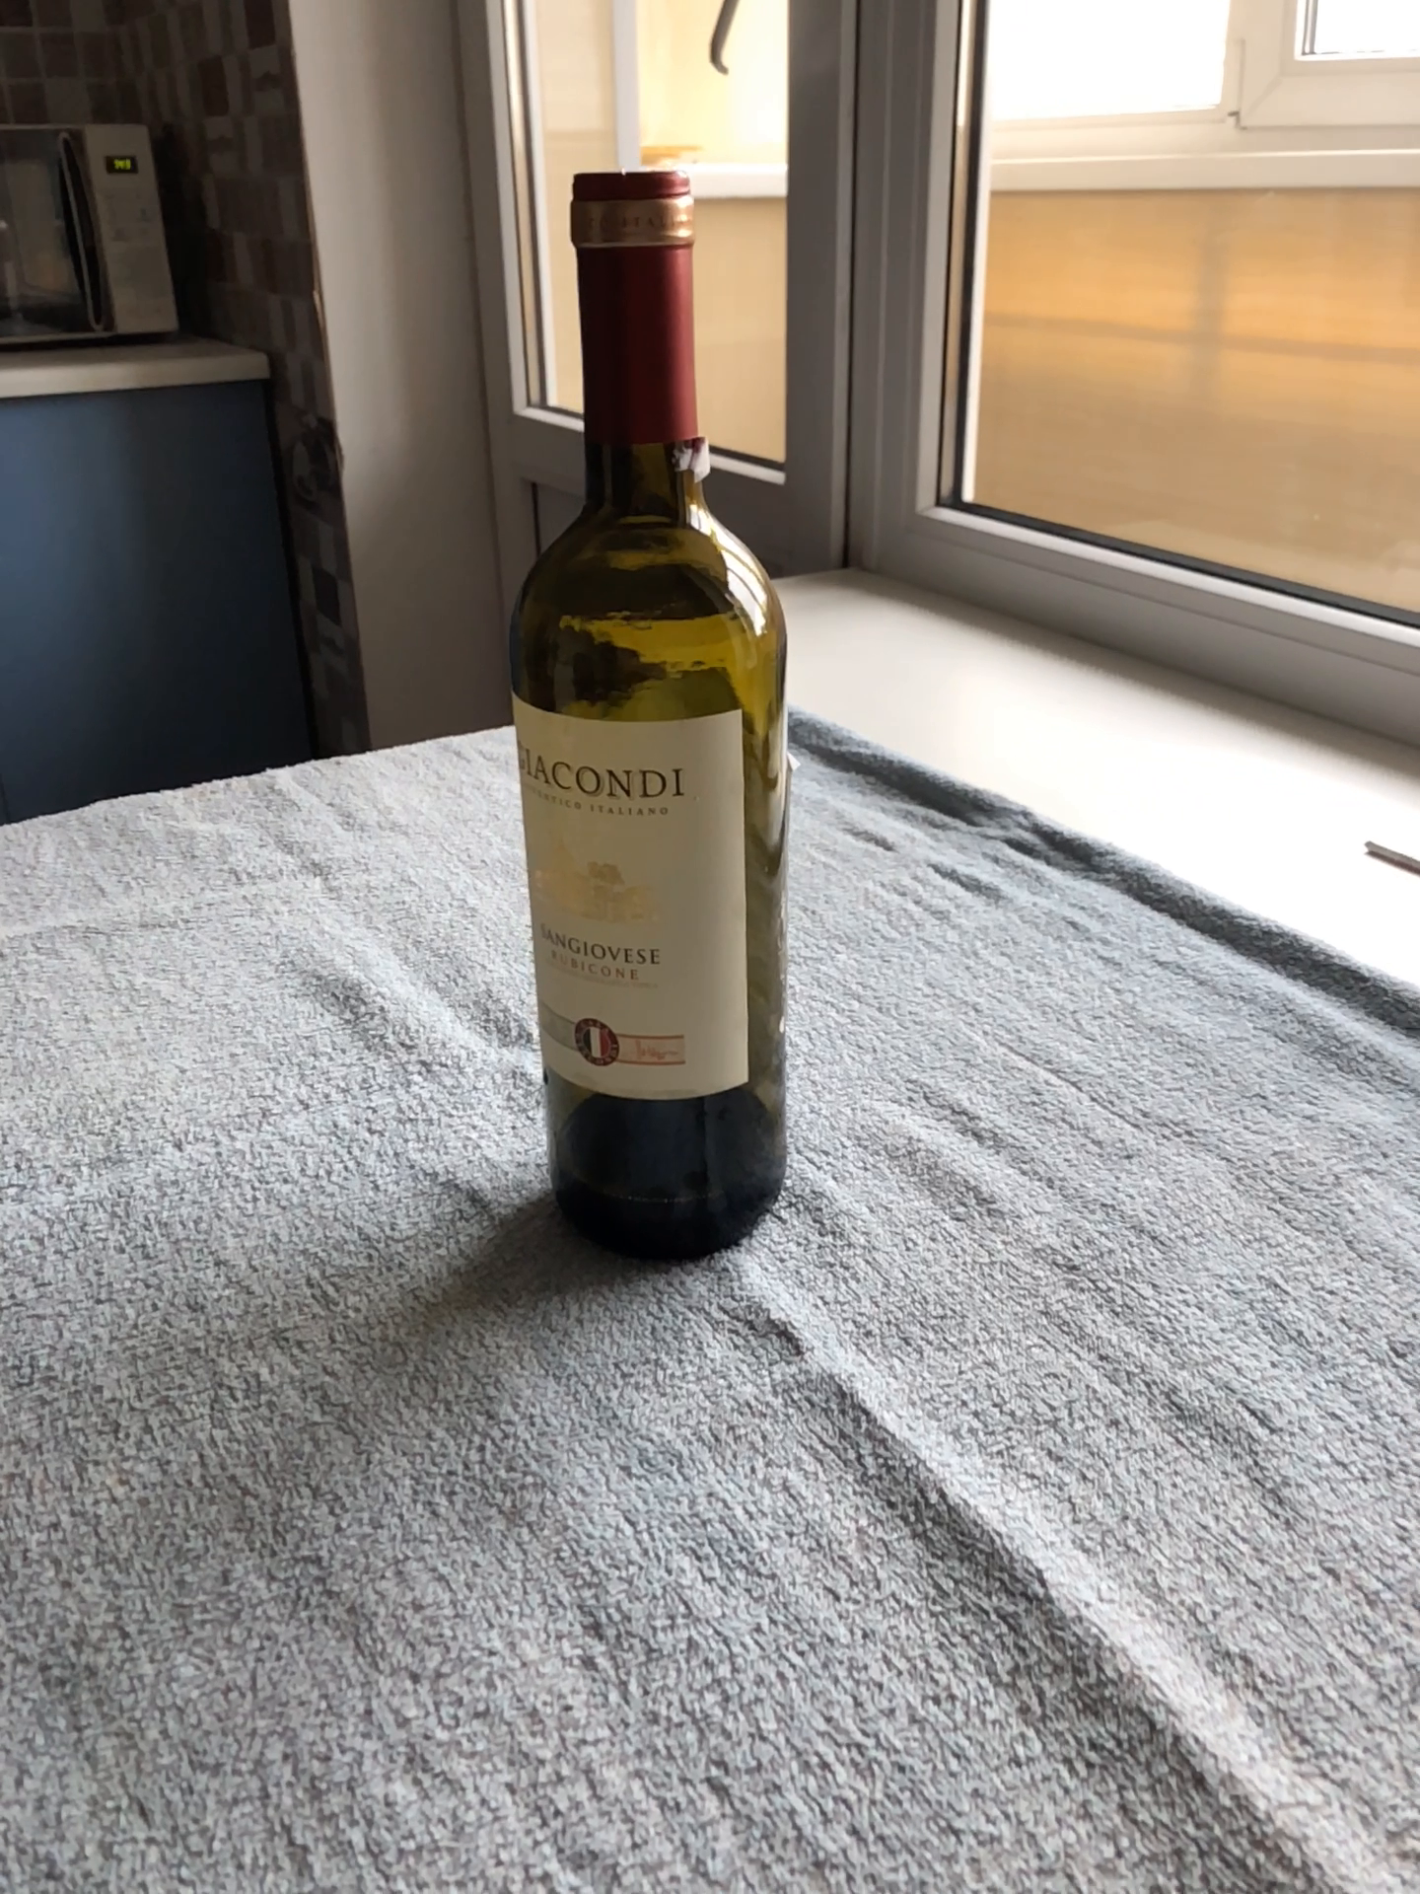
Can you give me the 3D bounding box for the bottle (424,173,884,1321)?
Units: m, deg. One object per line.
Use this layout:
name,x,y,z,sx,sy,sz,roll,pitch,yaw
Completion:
bottle,-0.009,-0.050,0.438,0.080,0.299,0.080,-1,25,0
